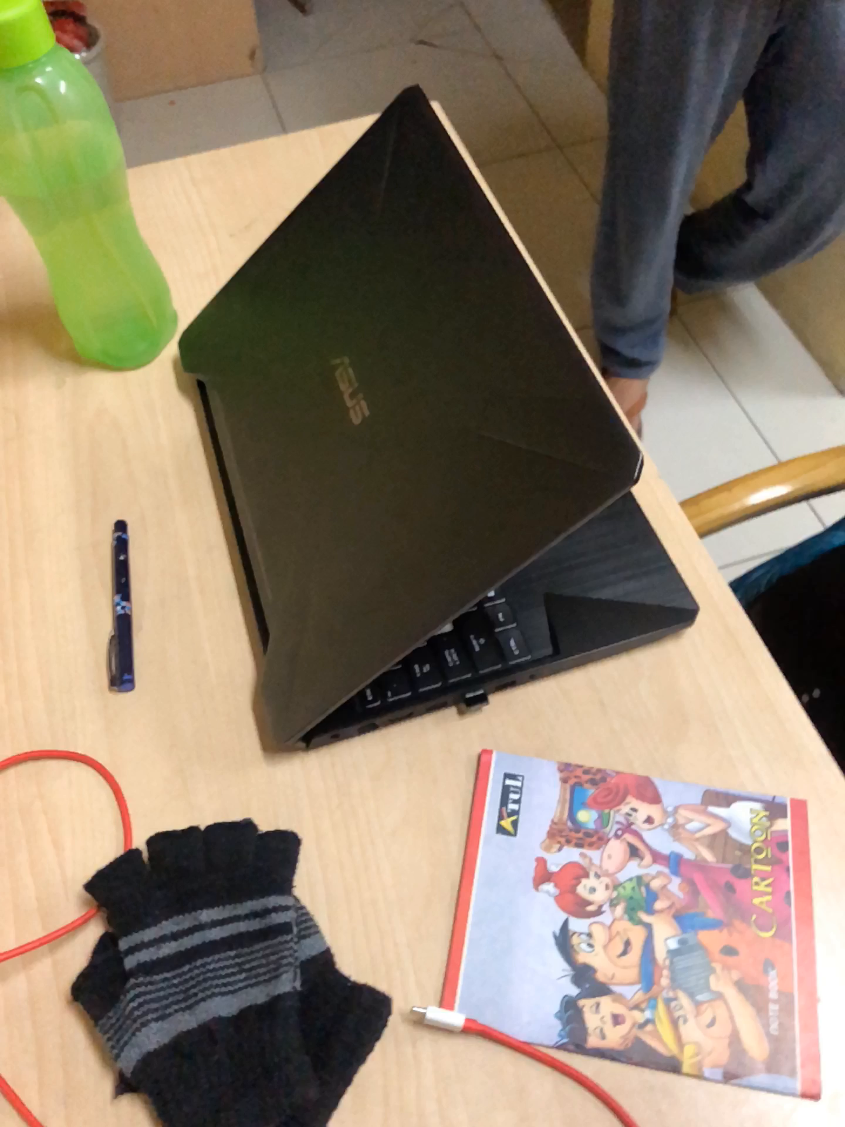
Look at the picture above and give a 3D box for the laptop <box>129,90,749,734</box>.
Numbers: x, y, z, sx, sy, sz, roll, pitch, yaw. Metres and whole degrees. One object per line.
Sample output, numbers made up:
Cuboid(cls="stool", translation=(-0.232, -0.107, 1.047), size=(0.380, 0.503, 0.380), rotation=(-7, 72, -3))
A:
Cuboid(cls="laptop", translation=(-0.010, -0.112, 0.575), size=(0.248, 0.147, 0.340), rotation=(-15, 57, -10))
